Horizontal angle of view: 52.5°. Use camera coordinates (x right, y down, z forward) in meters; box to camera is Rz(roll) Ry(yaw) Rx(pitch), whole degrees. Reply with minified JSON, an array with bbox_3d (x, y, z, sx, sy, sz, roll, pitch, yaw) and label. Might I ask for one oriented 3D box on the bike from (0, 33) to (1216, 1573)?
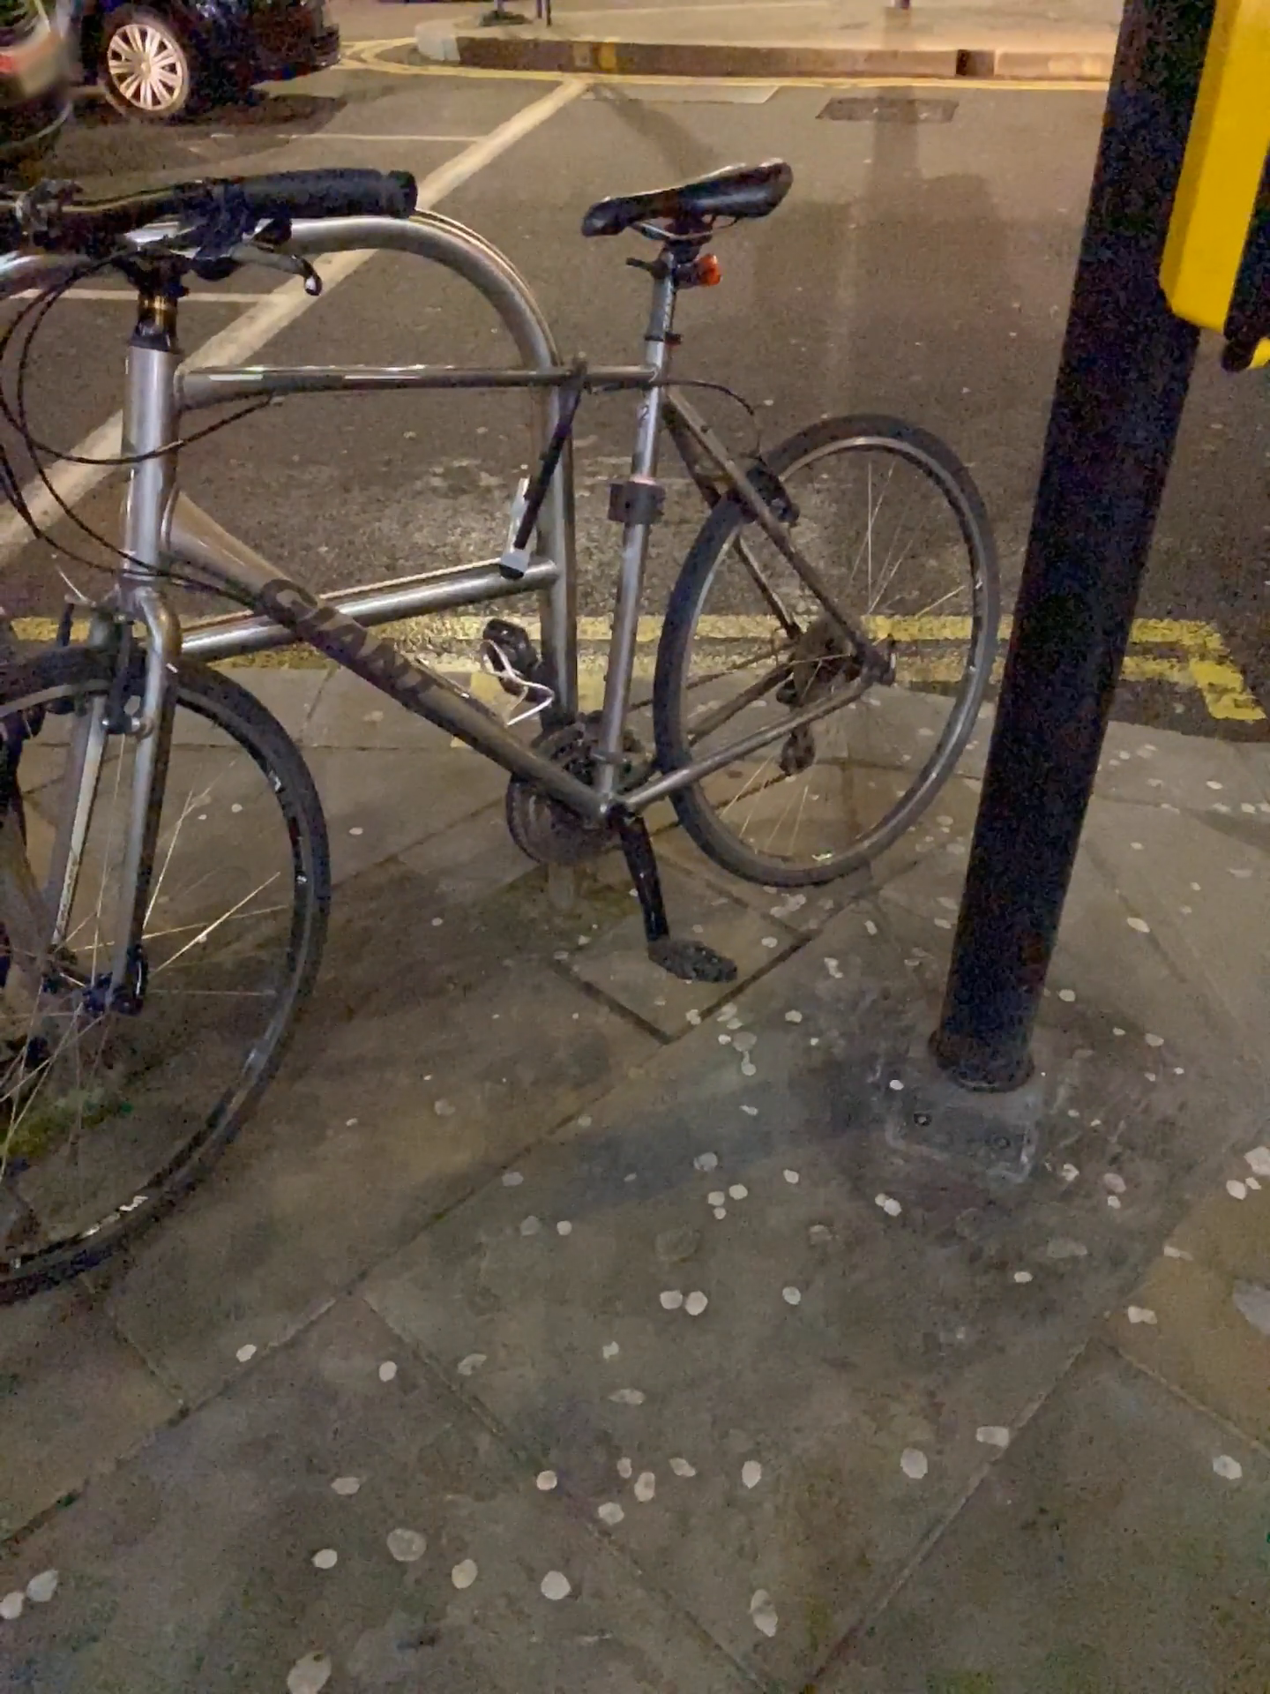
[{"bbox_3d":[-0.199,-0.286,1.594,1.825,1.124,0.710,-29,45,-34],"label":"bike"}]
